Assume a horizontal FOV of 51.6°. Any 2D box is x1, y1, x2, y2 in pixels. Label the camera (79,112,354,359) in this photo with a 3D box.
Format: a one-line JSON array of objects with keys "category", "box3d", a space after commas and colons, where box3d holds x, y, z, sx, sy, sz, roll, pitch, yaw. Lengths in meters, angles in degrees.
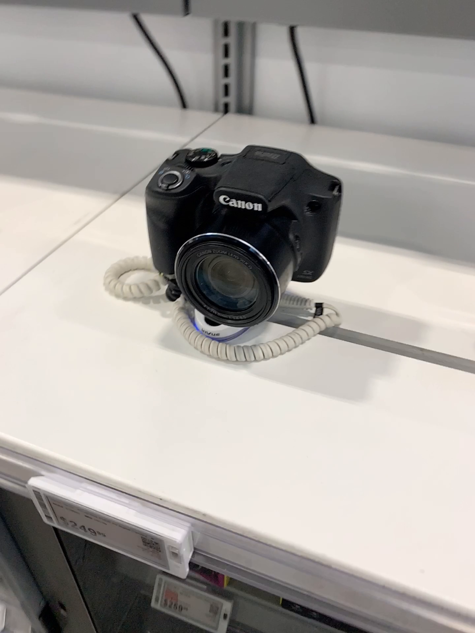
[{"category": "camera", "box3d": [-0.006, -0.054, 0.293, 0.120, 0.089, 0.100, 13, 40, 14]}]
